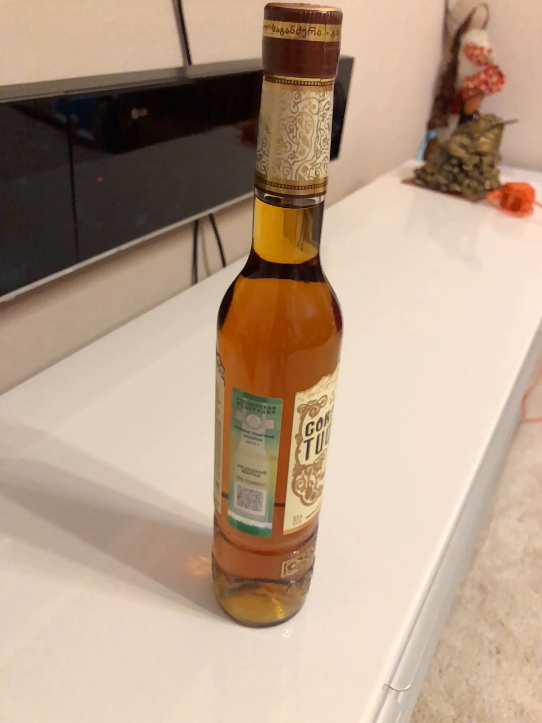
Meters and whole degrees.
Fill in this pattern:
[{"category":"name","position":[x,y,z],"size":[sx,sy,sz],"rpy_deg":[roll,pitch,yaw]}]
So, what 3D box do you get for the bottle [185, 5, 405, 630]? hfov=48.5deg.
[{"category":"bottle","position":[0.002,0.003,0.301],"size":[0.070,0.308,0.071],"rpy_deg":[3,31,-2]}]
